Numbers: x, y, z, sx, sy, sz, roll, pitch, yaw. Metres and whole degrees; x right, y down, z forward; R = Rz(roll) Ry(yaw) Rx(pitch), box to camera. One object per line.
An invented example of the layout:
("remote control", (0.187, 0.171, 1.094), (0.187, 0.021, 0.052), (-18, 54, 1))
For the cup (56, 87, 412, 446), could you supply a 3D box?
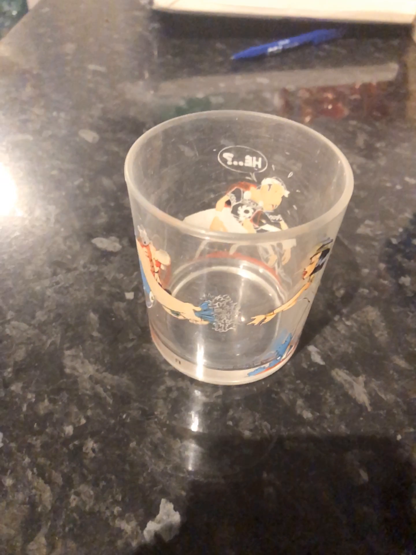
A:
("cup", (0.005, -0.008, 0.175), (0.080, 0.080, 0.080), (1, 46, -1))
